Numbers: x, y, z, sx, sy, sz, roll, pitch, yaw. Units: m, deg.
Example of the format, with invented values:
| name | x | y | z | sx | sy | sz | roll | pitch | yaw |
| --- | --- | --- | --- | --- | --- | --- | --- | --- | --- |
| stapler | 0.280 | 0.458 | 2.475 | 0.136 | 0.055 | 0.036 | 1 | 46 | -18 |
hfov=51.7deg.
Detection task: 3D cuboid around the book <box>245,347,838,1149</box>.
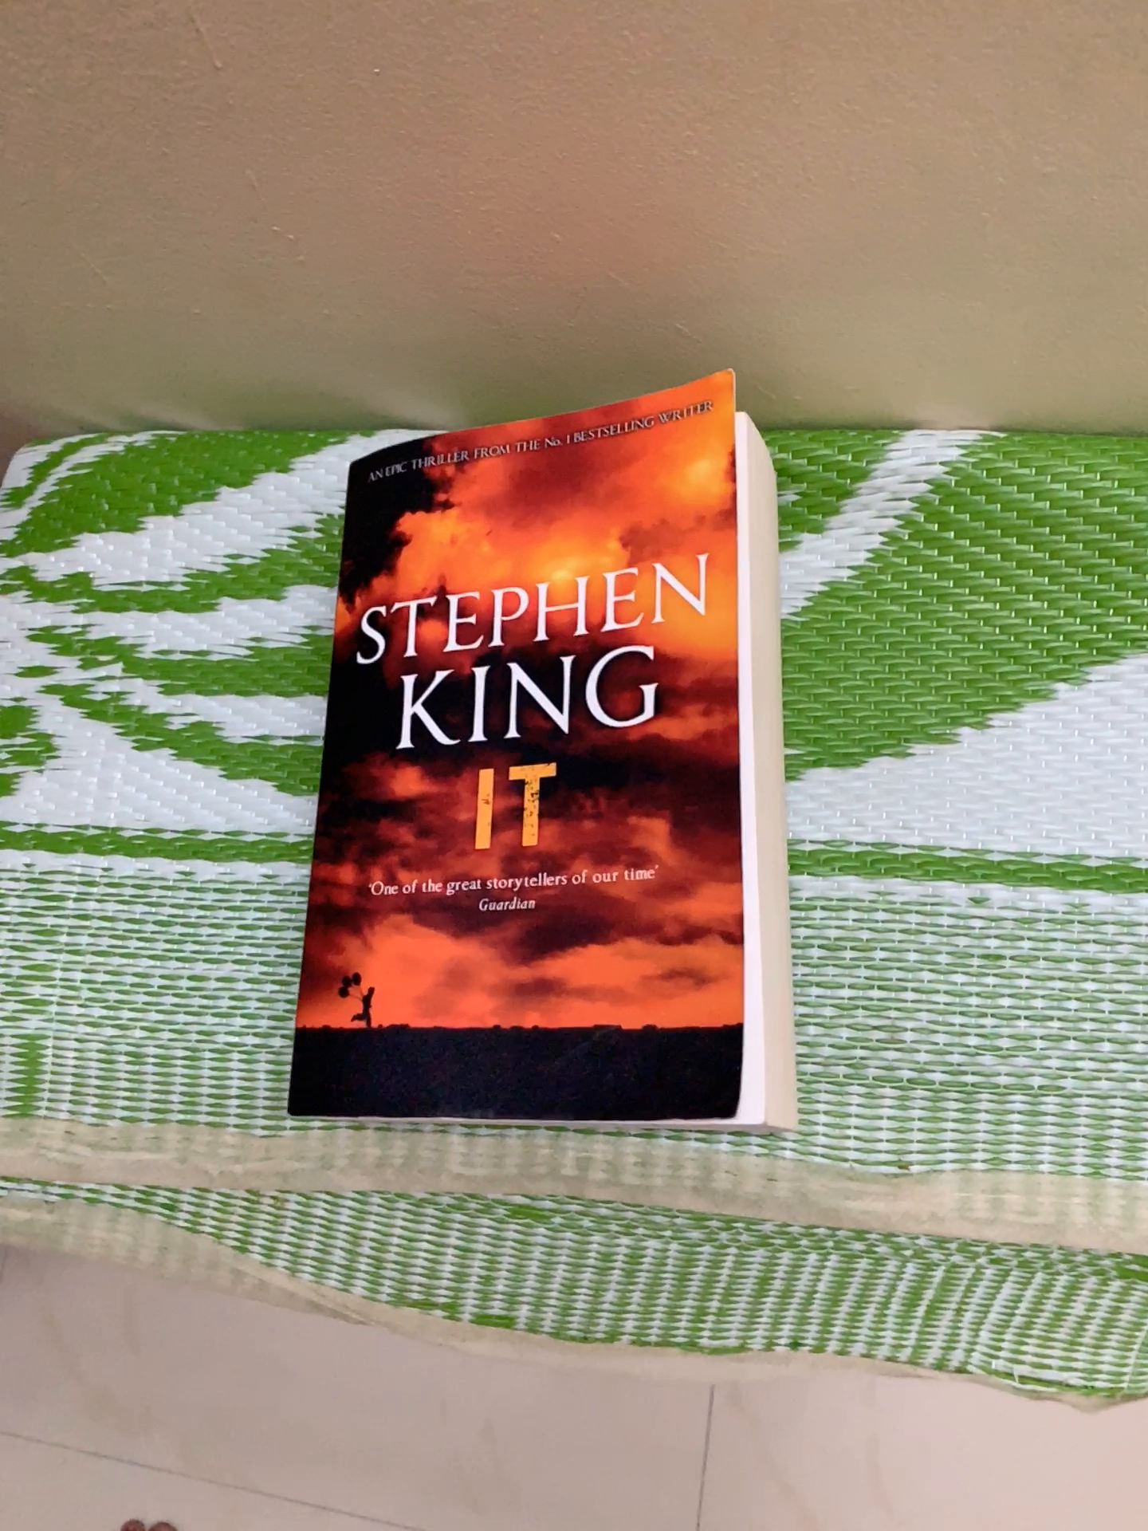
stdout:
| name | x | y | z | sx | sy | sz | roll | pitch | yaw |
| --- | --- | --- | --- | --- | --- | --- | --- | --- | --- |
| book | 0.001 | -0.004 | 0.343 | 0.140 | 0.070 | 0.210 | -2 | 69 | 14 |
